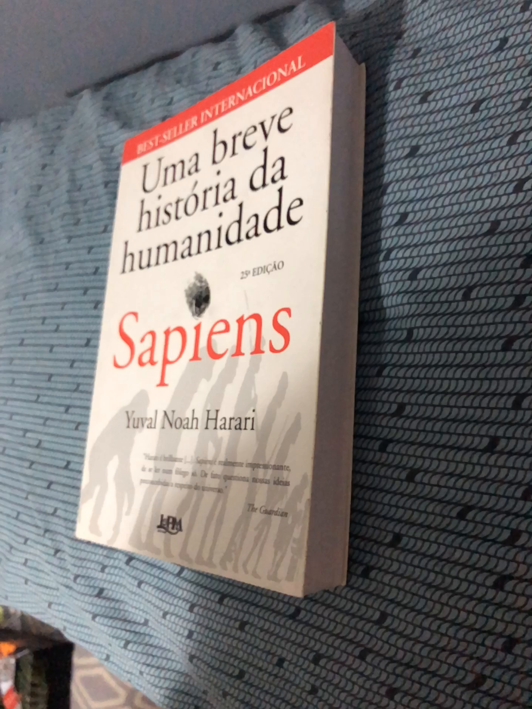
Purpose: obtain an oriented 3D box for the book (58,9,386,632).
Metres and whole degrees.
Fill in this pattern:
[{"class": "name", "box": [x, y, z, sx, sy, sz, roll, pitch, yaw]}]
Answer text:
[{"class": "book", "box": [-0.026, -0.015, 0.292, 0.161, 0.040, 0.240, -6, 75, 42]}]
